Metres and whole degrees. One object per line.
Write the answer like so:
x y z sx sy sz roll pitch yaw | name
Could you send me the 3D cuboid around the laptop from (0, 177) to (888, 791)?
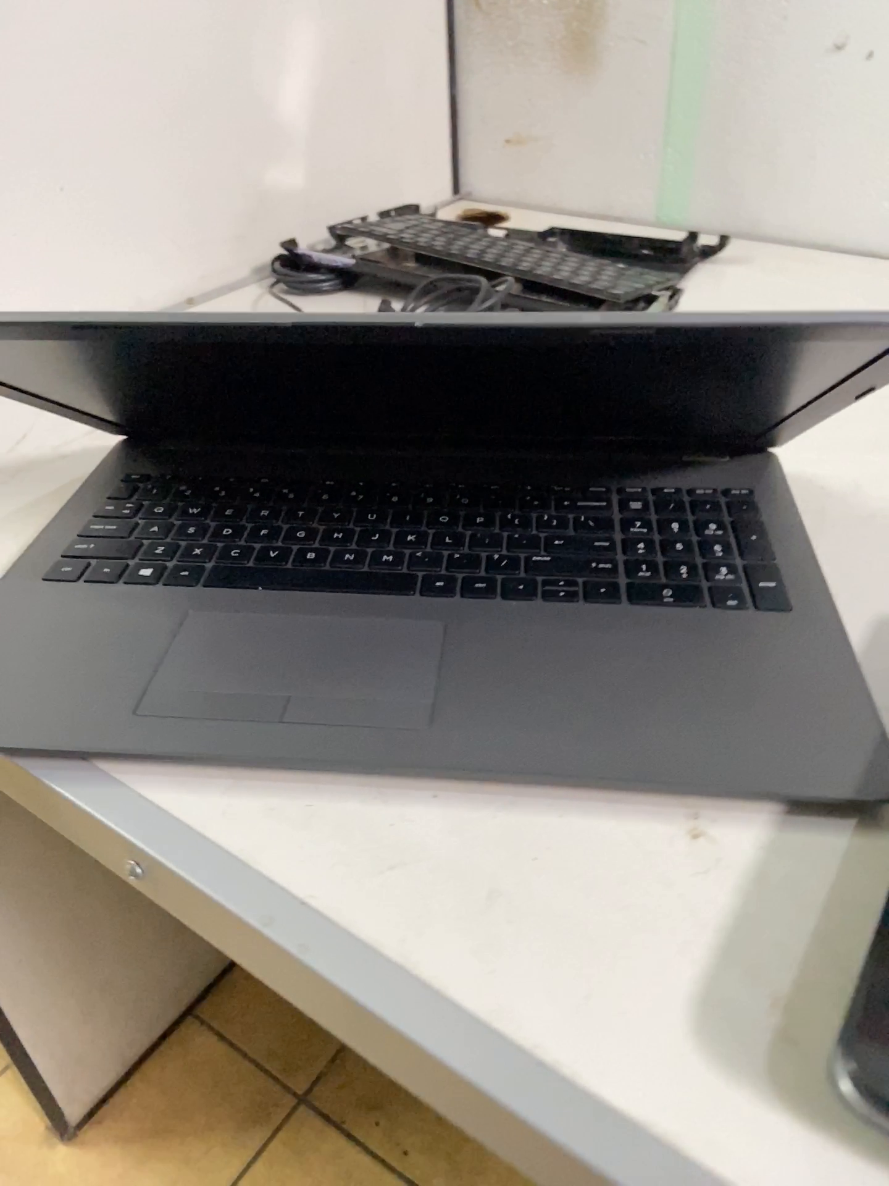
-0.022 -0.070 0.392 0.379 0.141 0.249 2 37 6 | laptop
